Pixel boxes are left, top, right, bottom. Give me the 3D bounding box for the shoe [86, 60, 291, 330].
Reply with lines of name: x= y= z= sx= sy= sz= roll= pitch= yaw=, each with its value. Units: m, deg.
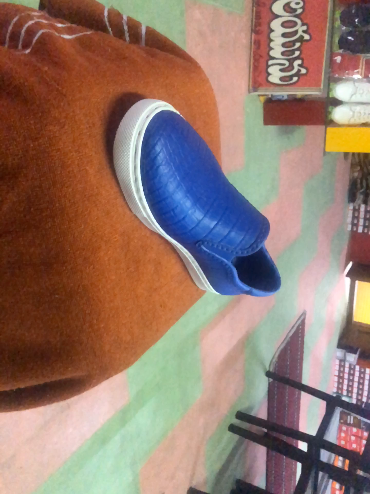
shoe: x=0.033 y=-0.028 z=0.438 sx=0.110 sy=0.079 sz=0.302 roll=-66 pitch=146 yaw=-24
